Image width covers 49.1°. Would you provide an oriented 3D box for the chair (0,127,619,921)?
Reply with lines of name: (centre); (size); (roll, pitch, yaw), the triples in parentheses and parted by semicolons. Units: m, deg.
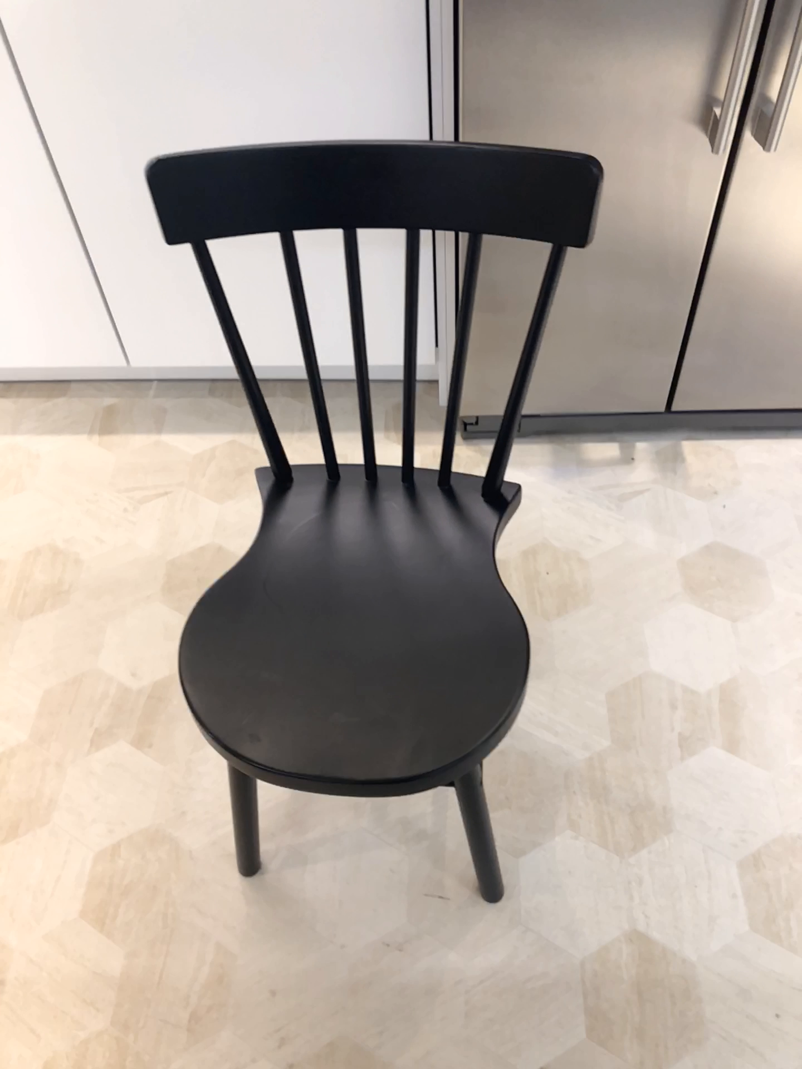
chair: (-0.059, 0.036, 0.993); (0.480, 0.745, 0.513); (4, 52, 7)
